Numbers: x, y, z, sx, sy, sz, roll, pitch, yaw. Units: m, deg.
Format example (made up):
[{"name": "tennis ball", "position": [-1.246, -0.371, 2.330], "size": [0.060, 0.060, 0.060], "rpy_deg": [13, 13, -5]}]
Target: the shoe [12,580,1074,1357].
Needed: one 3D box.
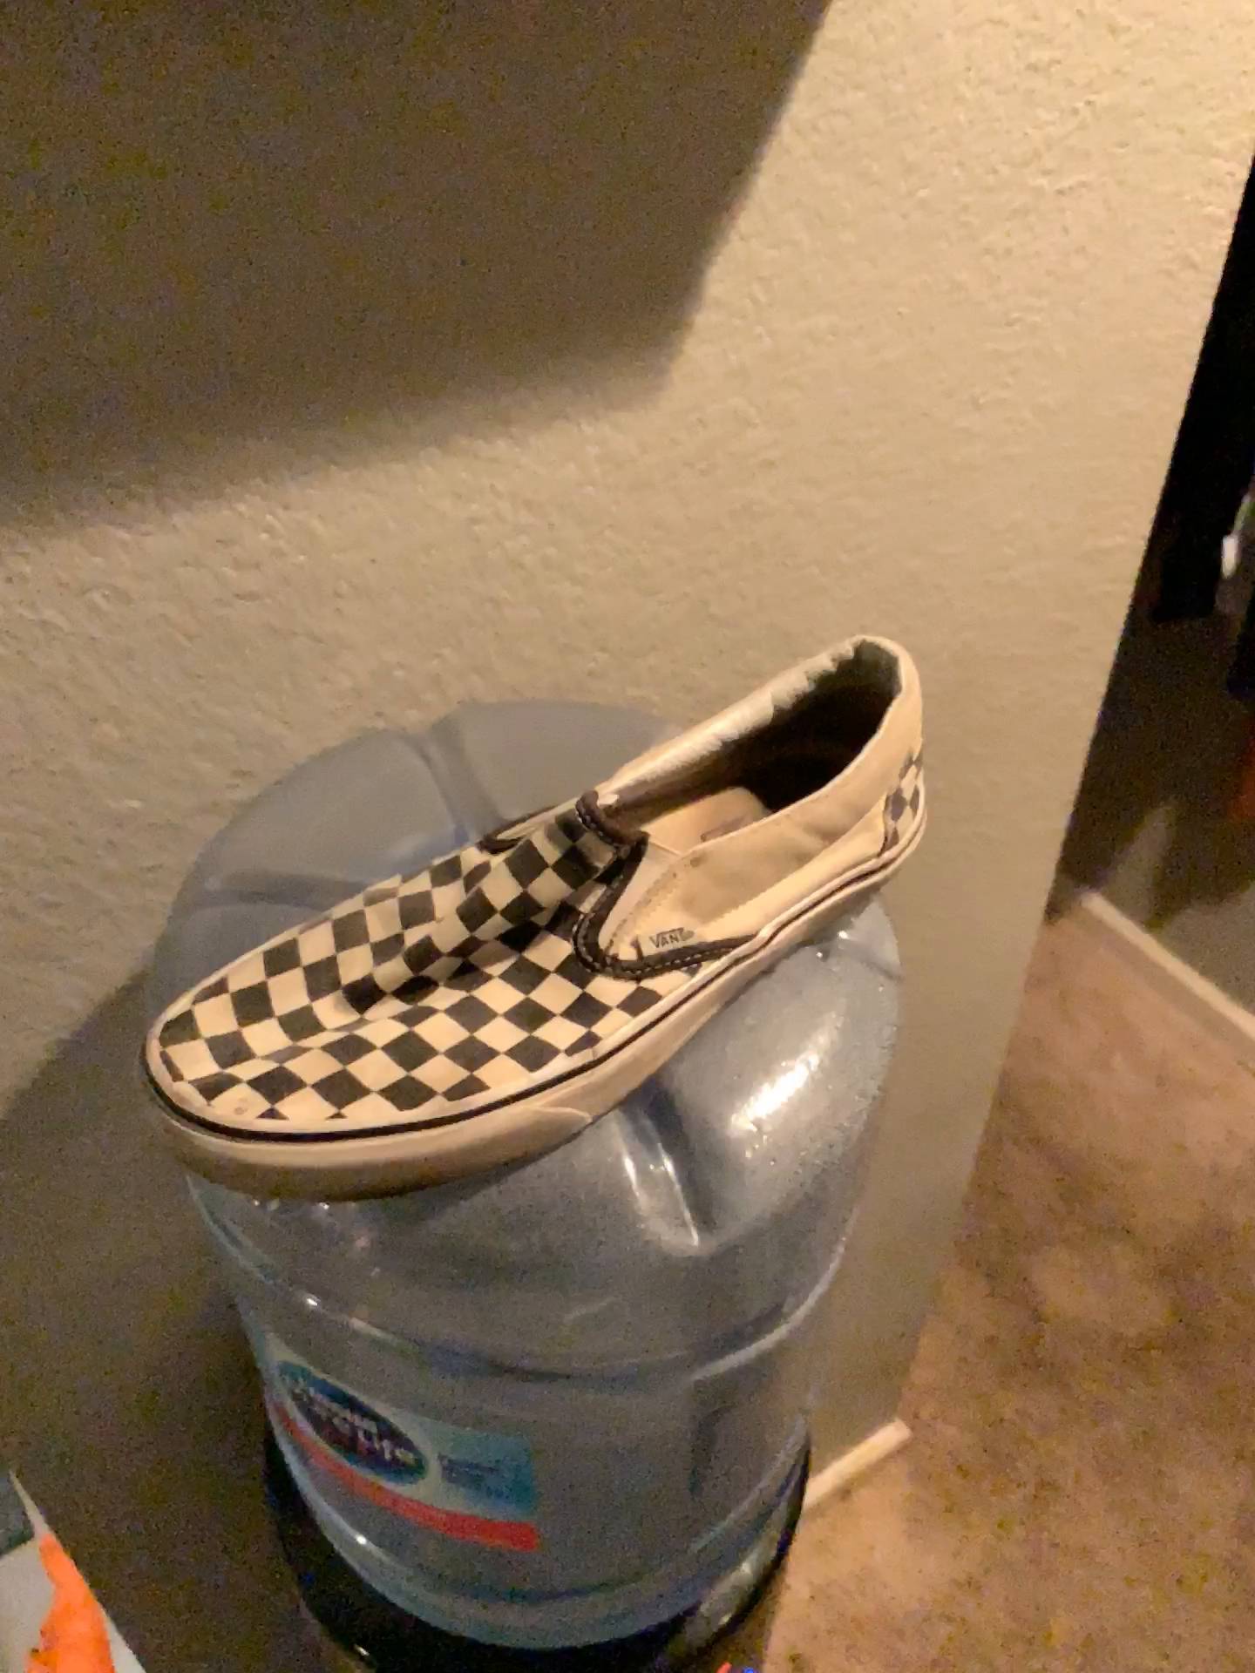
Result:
[{"name": "shoe", "position": [-0.021, 0.022, 0.435], "size": [0.280, 0.080, 0.130], "rpy_deg": [-21, 46, -22]}]
